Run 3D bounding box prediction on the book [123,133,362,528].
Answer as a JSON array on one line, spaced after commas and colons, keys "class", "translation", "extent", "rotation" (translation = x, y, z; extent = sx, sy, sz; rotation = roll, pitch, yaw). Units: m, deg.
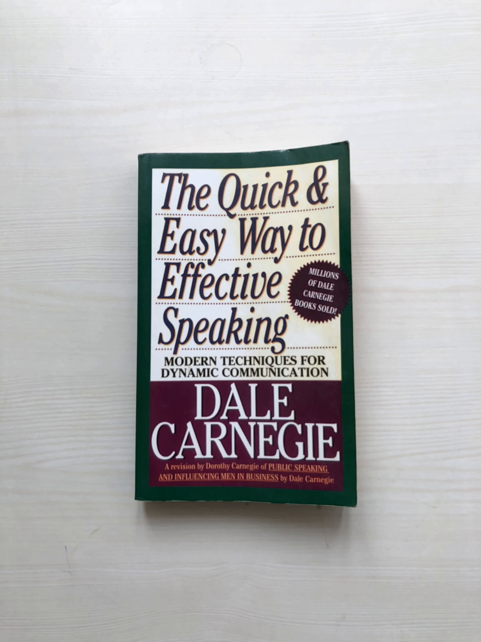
[{"class": "book", "translation": [0.003, 0.004, 0.273], "extent": [0.110, 0.040, 0.180], "rotation": [0, 86, 7]}]
